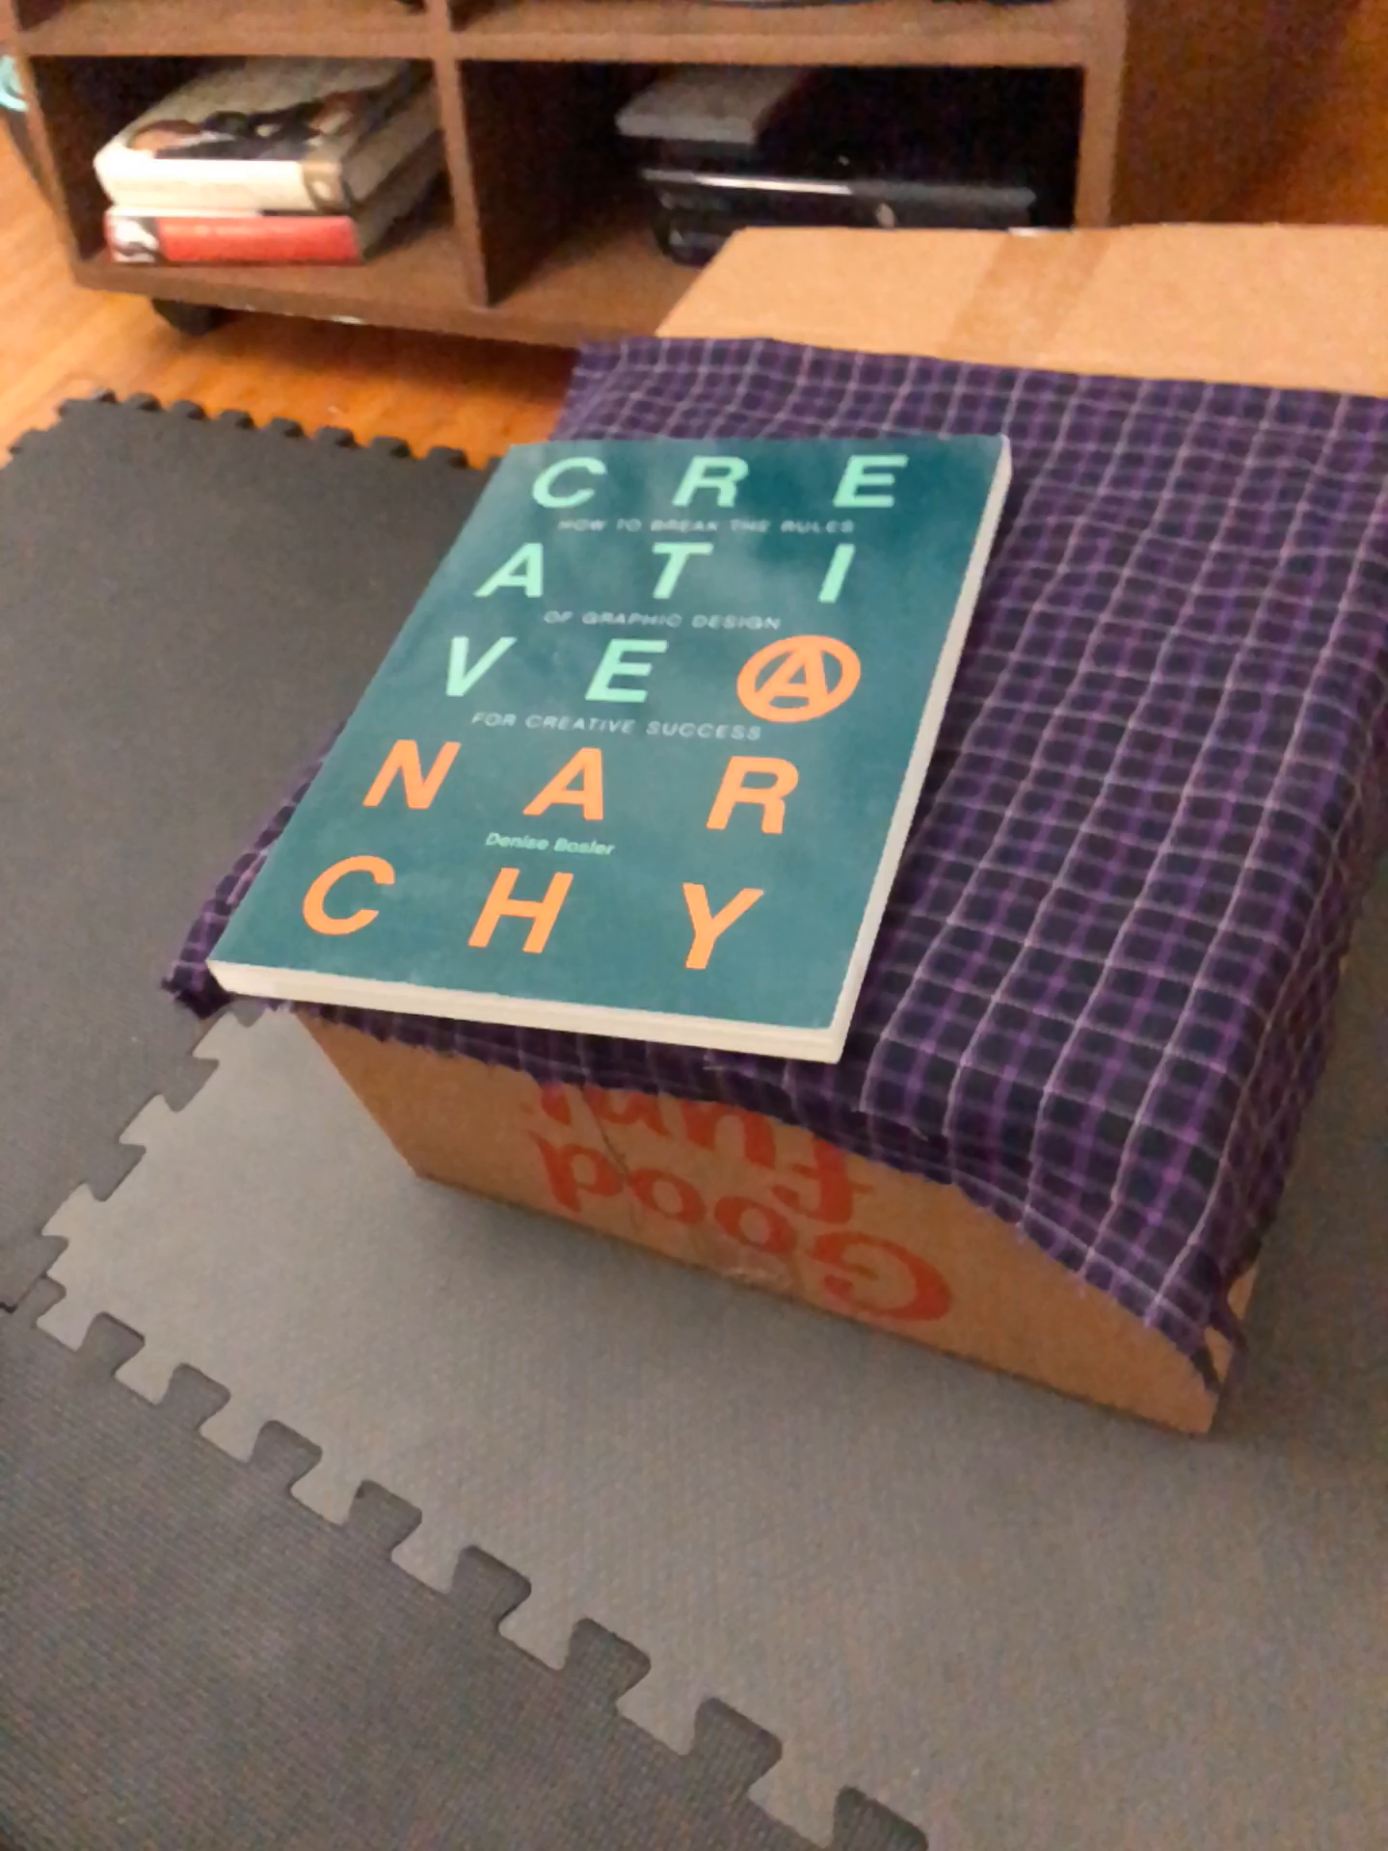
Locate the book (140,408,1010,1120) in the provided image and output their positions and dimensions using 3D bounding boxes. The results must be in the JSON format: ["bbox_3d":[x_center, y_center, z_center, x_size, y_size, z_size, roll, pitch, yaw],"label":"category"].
[{"bbox_3d":[-0.026,-0.079,0.532,0.220,0.020,0.301,5,53,21],"label":"book"}]
